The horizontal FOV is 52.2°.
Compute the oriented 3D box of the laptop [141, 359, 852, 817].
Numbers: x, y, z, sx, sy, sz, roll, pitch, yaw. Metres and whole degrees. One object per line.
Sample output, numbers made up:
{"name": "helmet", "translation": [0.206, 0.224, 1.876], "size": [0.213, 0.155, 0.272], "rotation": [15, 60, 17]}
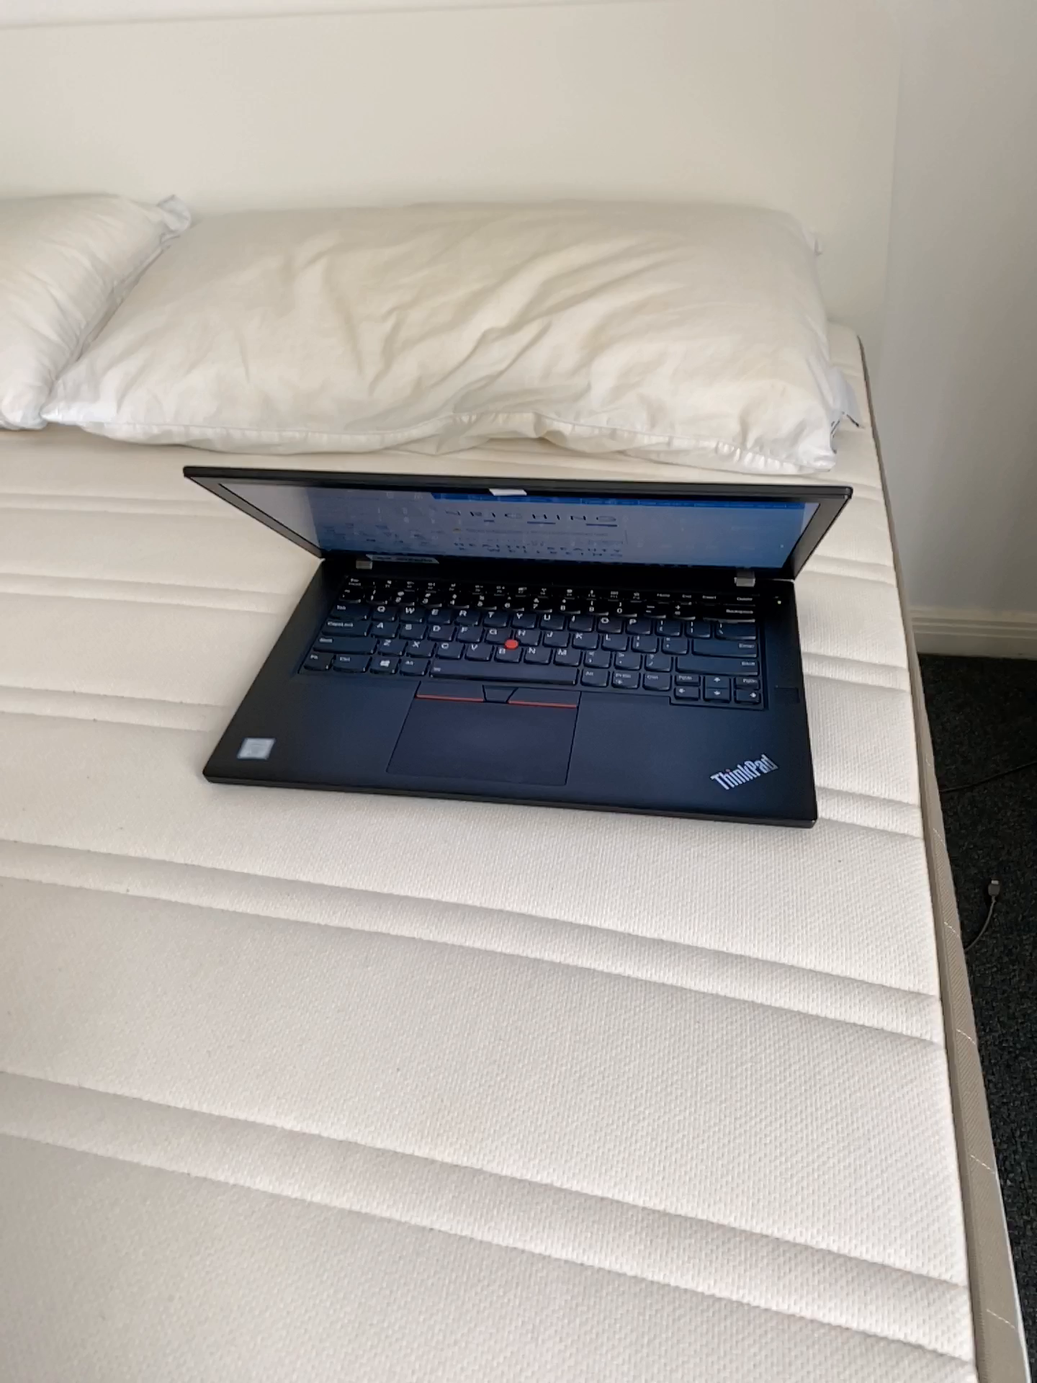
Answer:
{"name": "laptop", "translation": [0.003, -0.072, 0.606], "size": [0.324, 0.151, 0.221], "rotation": [3, 39, 8]}
